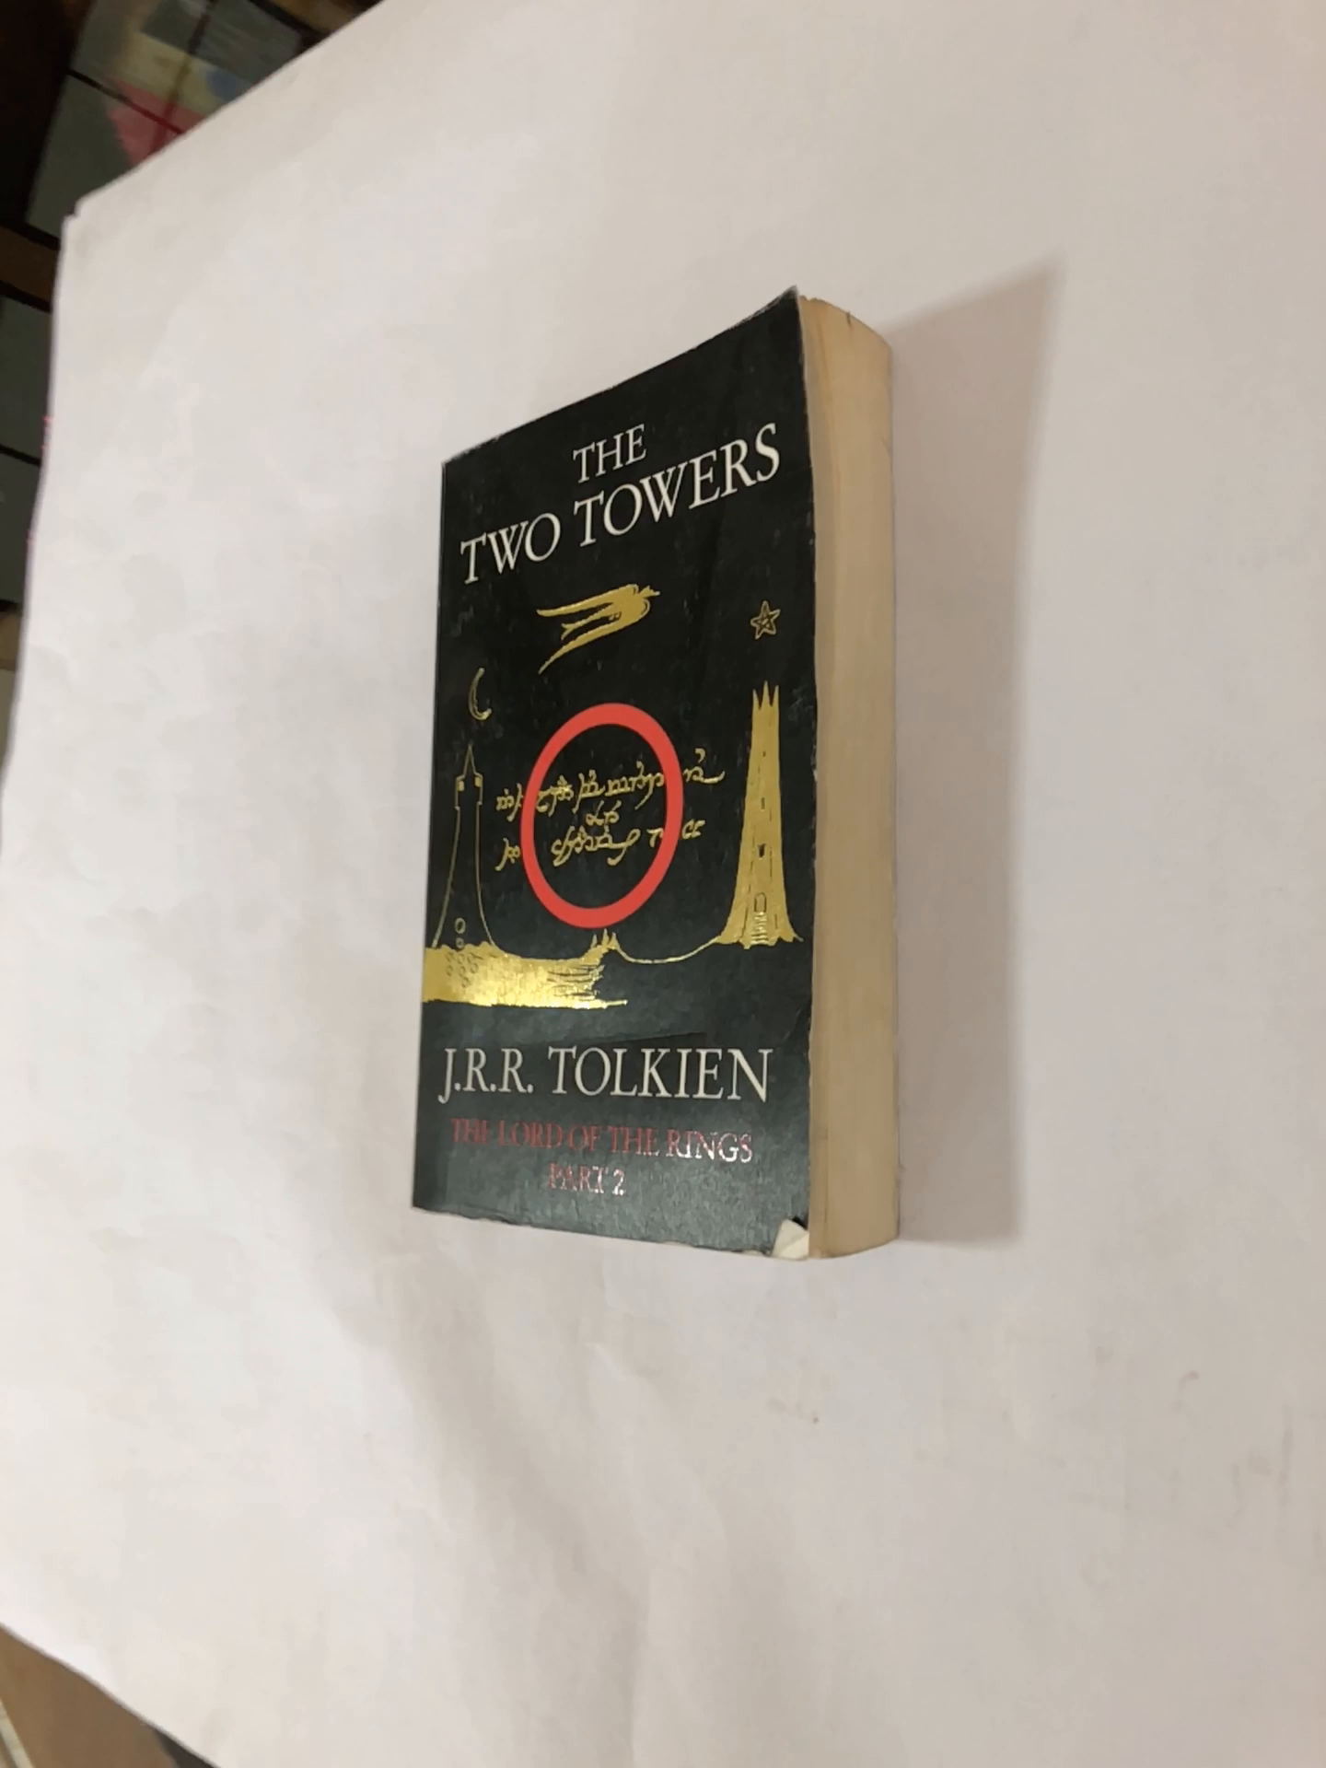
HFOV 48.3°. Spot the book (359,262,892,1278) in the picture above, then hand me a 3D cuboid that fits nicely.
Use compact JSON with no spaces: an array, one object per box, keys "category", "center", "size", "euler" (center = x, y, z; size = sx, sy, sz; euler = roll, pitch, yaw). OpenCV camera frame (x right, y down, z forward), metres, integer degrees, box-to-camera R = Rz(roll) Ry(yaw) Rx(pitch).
[{"category":"book","center":[-0.011,-0.019,0.338],"size":[0.131,0.030,0.200],"euler":[-7,78,41]}]
